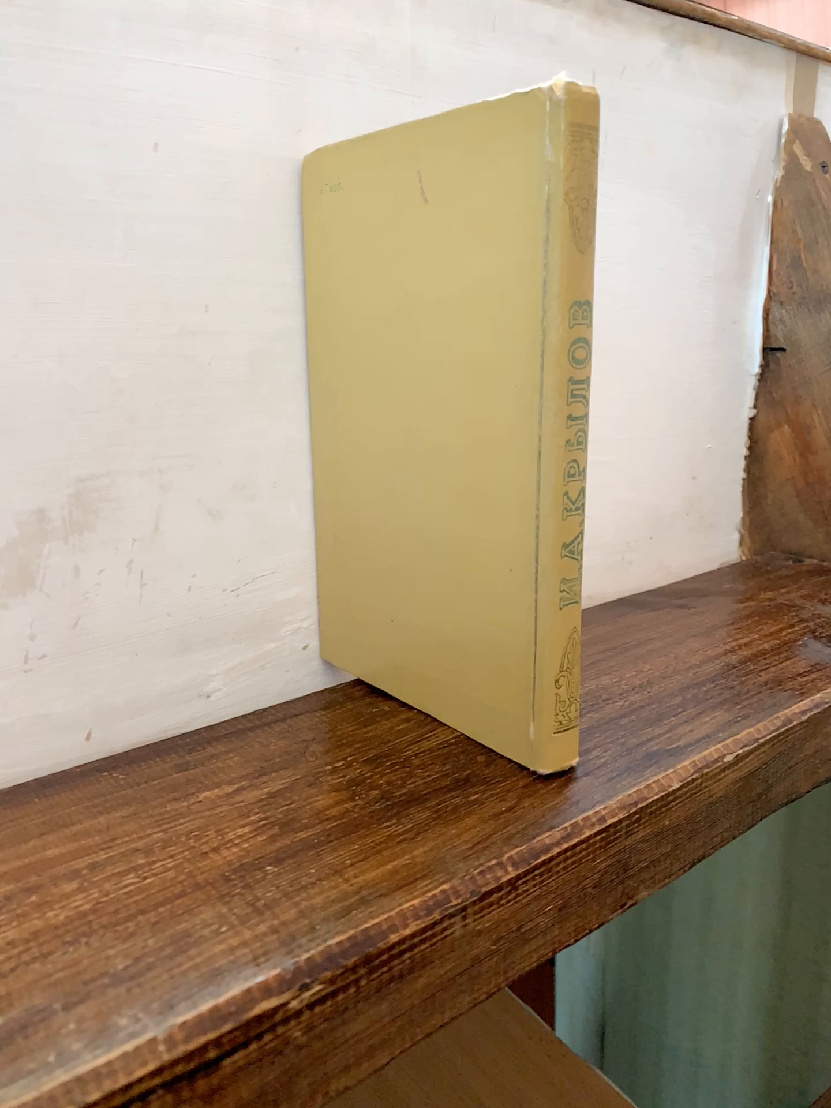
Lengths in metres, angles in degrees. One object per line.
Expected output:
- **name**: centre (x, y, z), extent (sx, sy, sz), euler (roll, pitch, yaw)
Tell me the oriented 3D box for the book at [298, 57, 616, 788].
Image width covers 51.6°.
- **book**: centre (0.007, -0.041, 0.300), extent (0.020, 0.205, 0.132), euler (-11, 17, -37)
